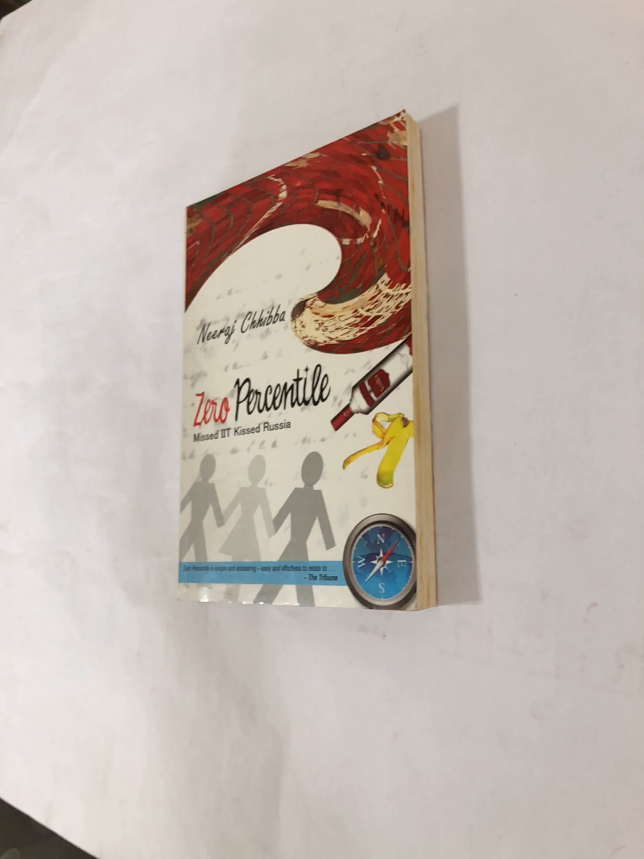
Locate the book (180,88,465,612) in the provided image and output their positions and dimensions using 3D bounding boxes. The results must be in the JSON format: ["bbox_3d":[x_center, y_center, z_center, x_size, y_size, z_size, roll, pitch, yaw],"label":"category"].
[{"bbox_3d":[-0.006,-0.027,0.314,0.133,0.021,0.200,-8,77,38],"label":"book"}]
